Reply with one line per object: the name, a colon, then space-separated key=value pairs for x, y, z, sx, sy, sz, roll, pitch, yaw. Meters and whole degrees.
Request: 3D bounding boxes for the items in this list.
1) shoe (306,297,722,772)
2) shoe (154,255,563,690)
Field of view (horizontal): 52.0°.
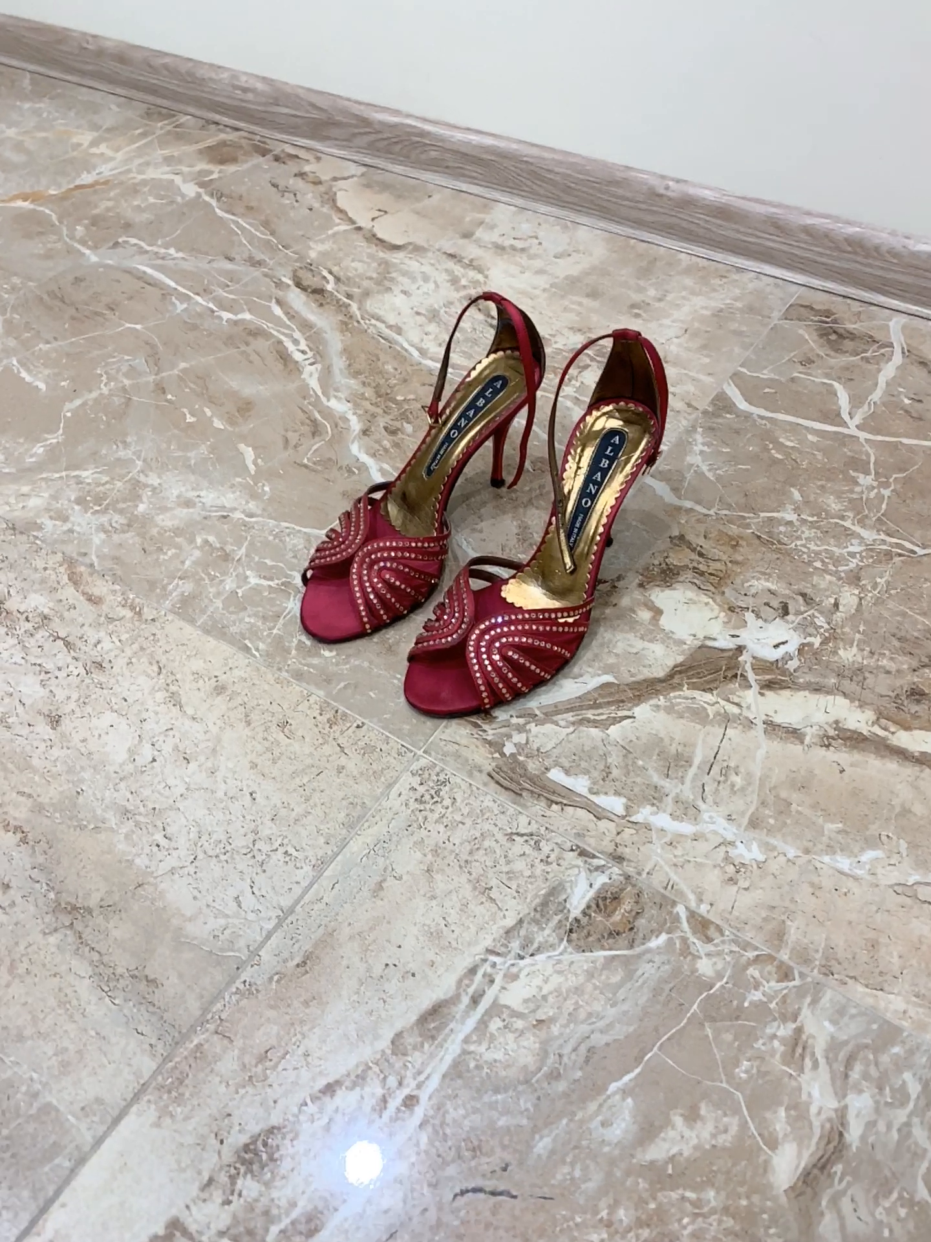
shoe: x=0.034 y=-0.054 z=0.525 sx=0.090 sy=0.129 sz=0.231 roll=30 pitch=56 yaw=24
shoe: x=-0.048 y=-0.094 z=0.565 sx=0.090 sy=0.129 sz=0.231 roll=30 pitch=56 yaw=24
